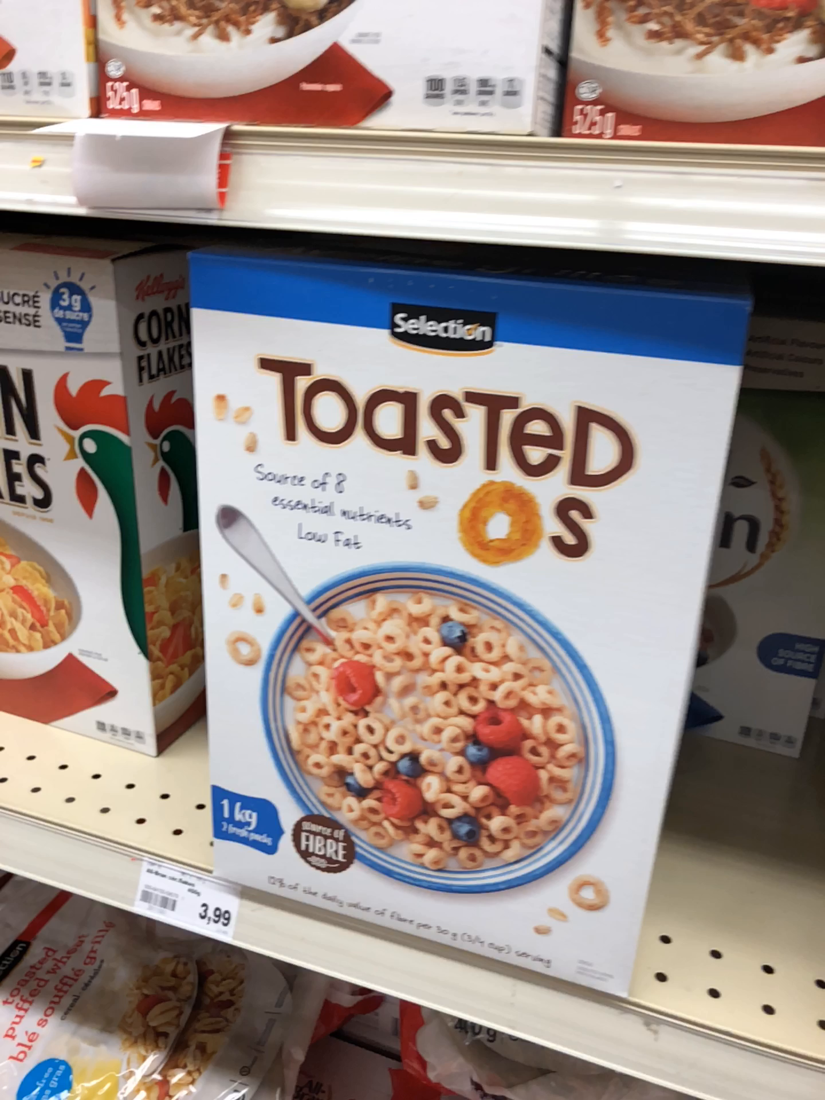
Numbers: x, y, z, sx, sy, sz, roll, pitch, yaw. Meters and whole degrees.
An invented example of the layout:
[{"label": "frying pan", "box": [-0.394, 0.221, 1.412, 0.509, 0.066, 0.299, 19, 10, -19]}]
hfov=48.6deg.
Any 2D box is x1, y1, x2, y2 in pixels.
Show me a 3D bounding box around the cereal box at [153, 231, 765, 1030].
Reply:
[{"label": "cereal box", "box": [0.023, 0.022, 0.475, 0.240, 0.338, 0.161, 9, 21, 16]}]
